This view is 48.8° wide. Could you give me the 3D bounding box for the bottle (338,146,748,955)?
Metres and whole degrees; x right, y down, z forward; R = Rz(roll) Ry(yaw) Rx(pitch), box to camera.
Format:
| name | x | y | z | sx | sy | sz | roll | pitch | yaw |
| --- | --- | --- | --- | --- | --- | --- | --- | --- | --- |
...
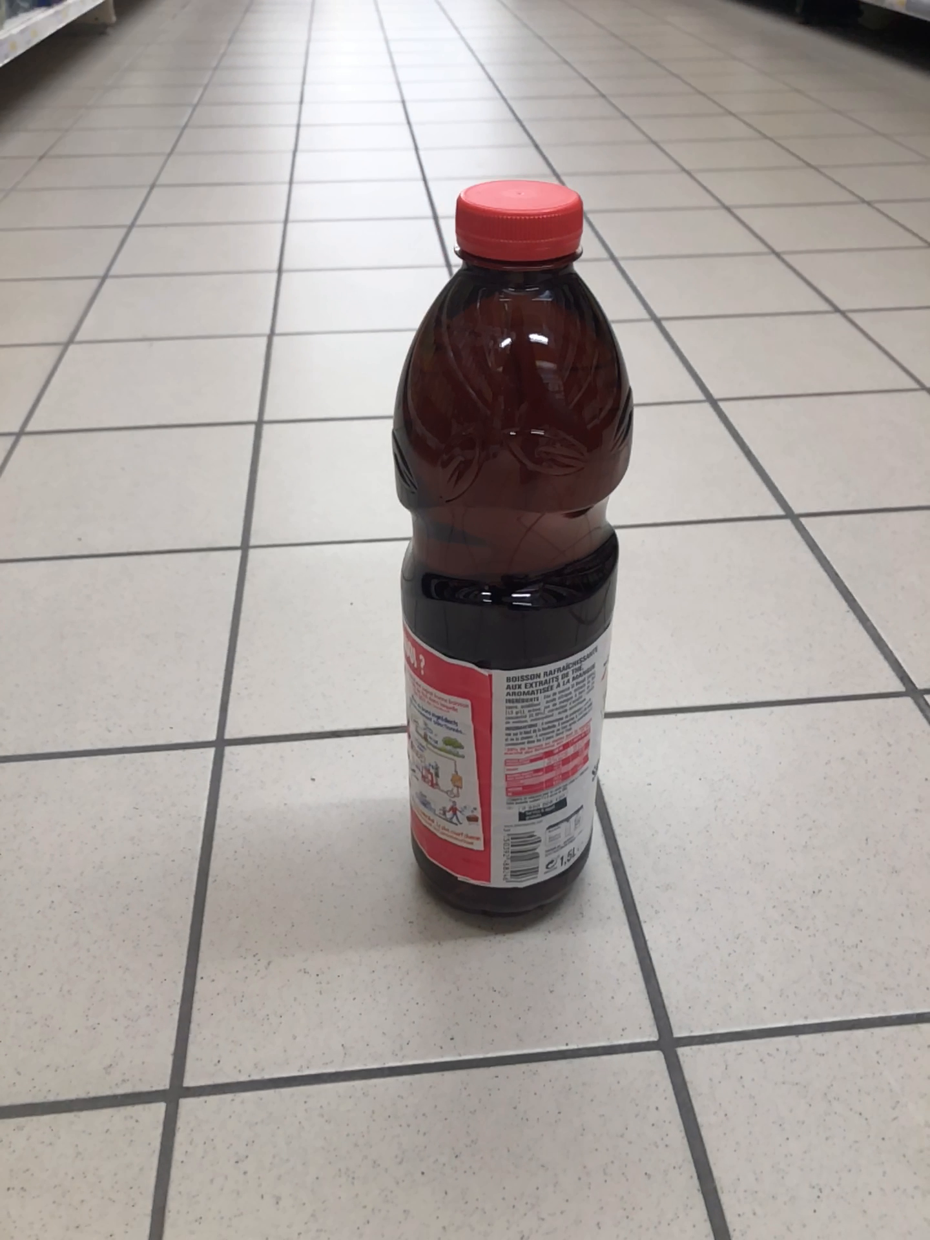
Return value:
| name | x | y | z | sx | sy | sz | roll | pitch | yaw |
| --- | --- | --- | --- | --- | --- | --- | --- | --- | --- |
| bottle | 0.020 | -0.014 | 0.398 | 0.090 | 0.288 | 0.100 | -14 | 38 | -19 |
